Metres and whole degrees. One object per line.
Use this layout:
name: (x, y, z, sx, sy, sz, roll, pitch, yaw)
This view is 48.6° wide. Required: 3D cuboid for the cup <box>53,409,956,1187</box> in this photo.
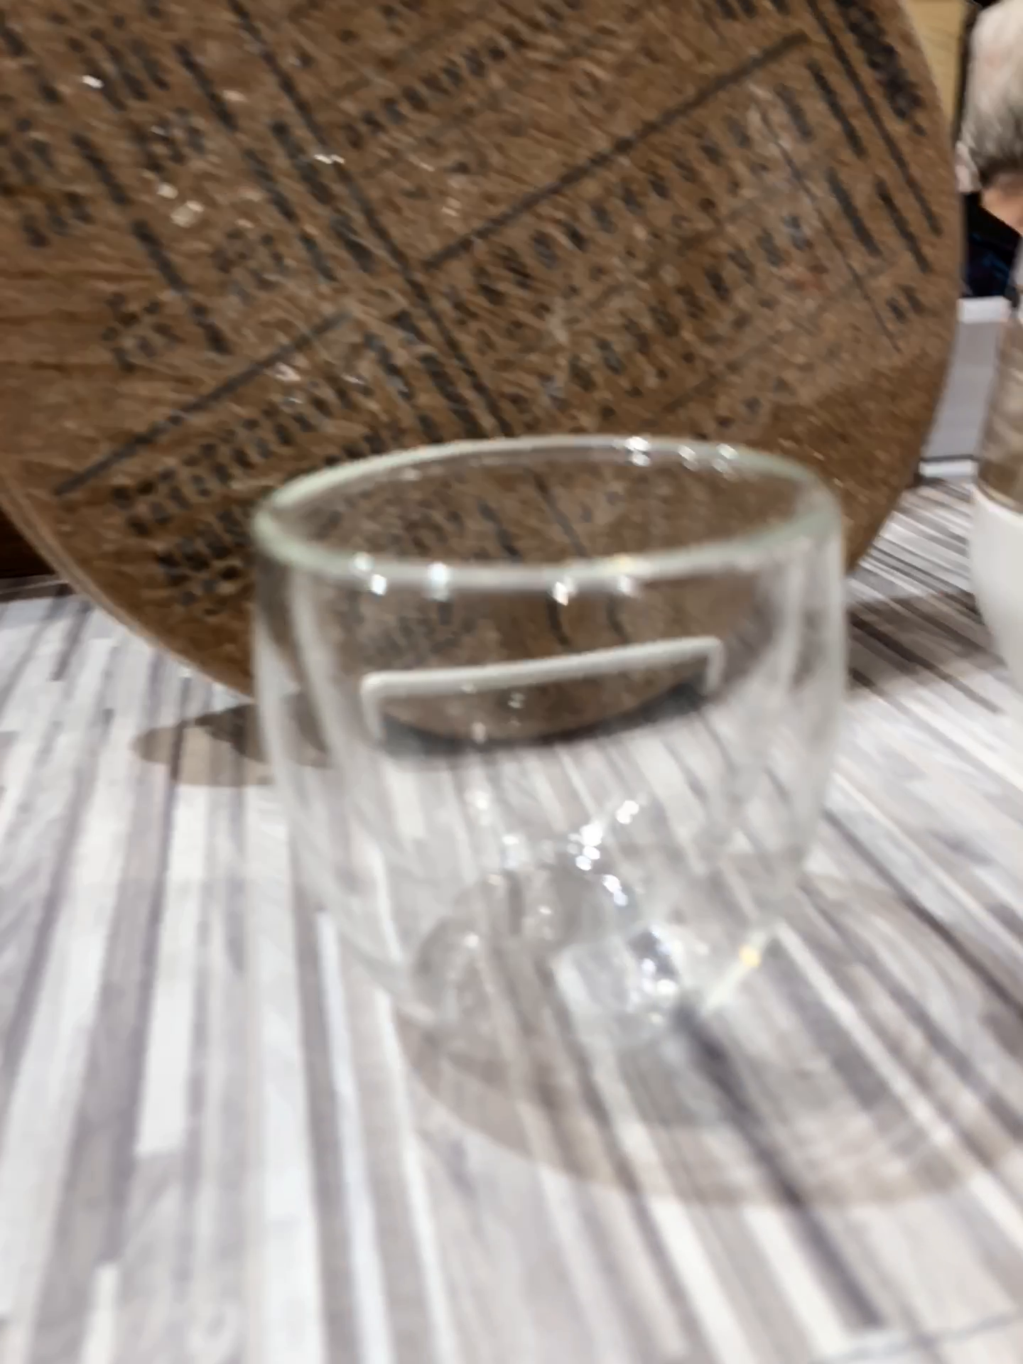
cup: (0.007, 0.002, 0.123, 0.070, 0.050, 0.070, -3, 22, 1)
